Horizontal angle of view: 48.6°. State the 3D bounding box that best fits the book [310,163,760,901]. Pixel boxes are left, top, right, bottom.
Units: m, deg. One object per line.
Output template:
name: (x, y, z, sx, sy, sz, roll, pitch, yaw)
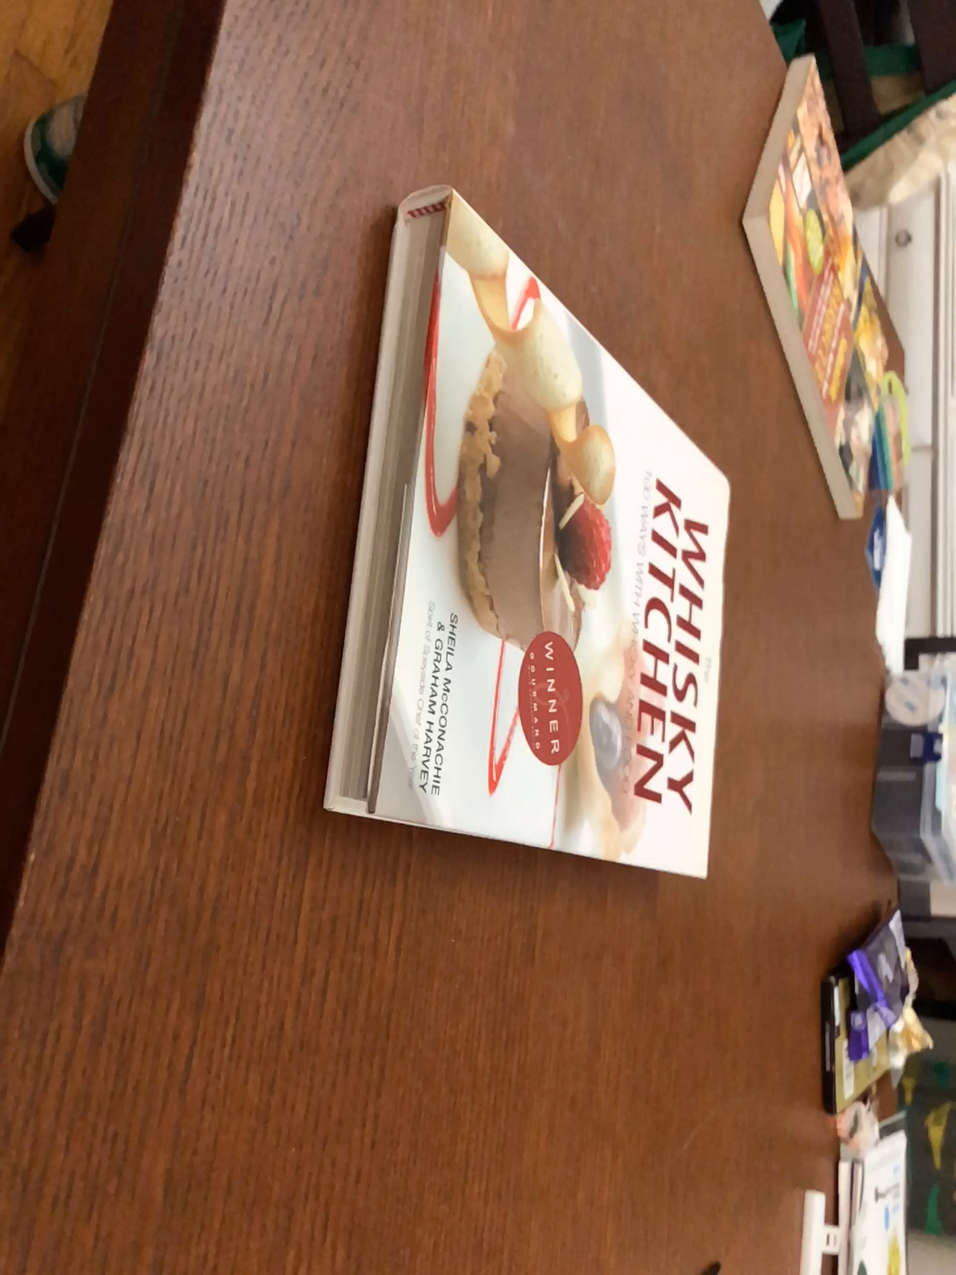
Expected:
book: (0.050, -0.013, 0.437, 0.271, 0.040, 0.220, 26, 66, -54)
